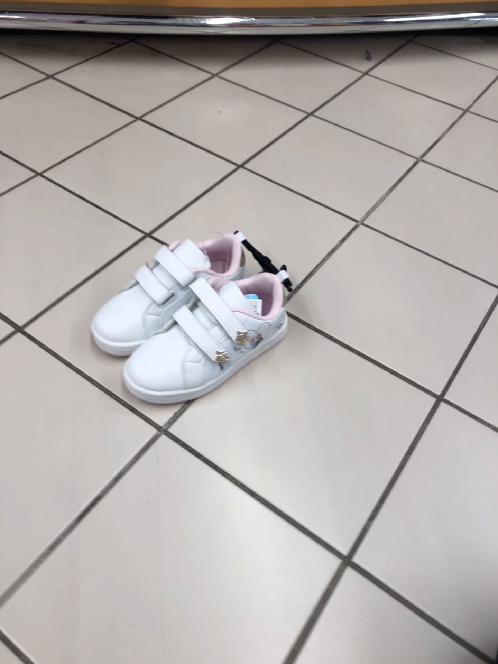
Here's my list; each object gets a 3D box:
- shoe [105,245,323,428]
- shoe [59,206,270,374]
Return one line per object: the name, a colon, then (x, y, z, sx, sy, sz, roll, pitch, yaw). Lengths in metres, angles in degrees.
shoe: (-0.031, -0.002, 0.554, 0.201, 0.070, 0.080, -30, 58, -27)
shoe: (-0.083, -0.050, 0.582, 0.201, 0.070, 0.080, -30, 58, -27)
